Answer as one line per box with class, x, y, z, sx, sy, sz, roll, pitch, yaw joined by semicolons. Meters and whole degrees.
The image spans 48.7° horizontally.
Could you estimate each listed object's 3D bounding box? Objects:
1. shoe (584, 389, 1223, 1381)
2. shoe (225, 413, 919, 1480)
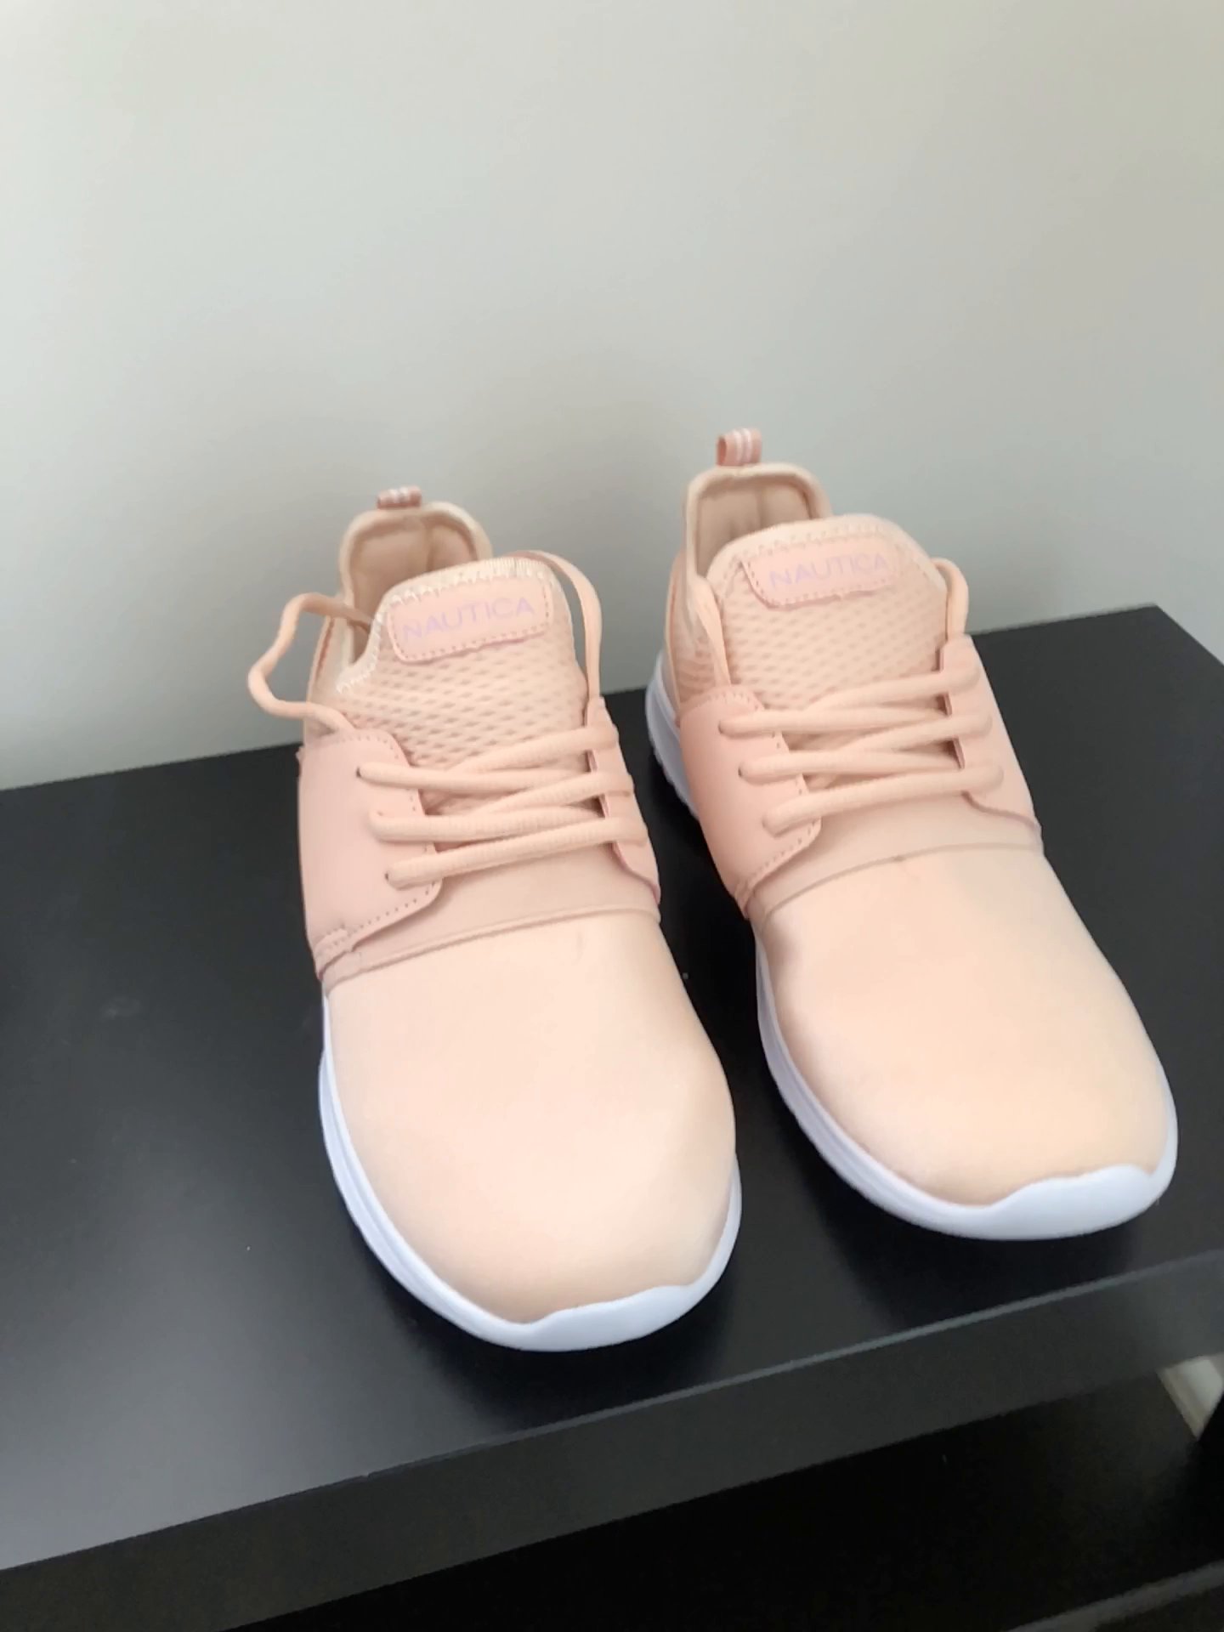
shoe;0.071;-0.007;0.347;0.100;0.110;0.241;-10;40;-11
shoe;-0.031;0.005;0.339;0.100;0.110;0.251;-10;40;-11
